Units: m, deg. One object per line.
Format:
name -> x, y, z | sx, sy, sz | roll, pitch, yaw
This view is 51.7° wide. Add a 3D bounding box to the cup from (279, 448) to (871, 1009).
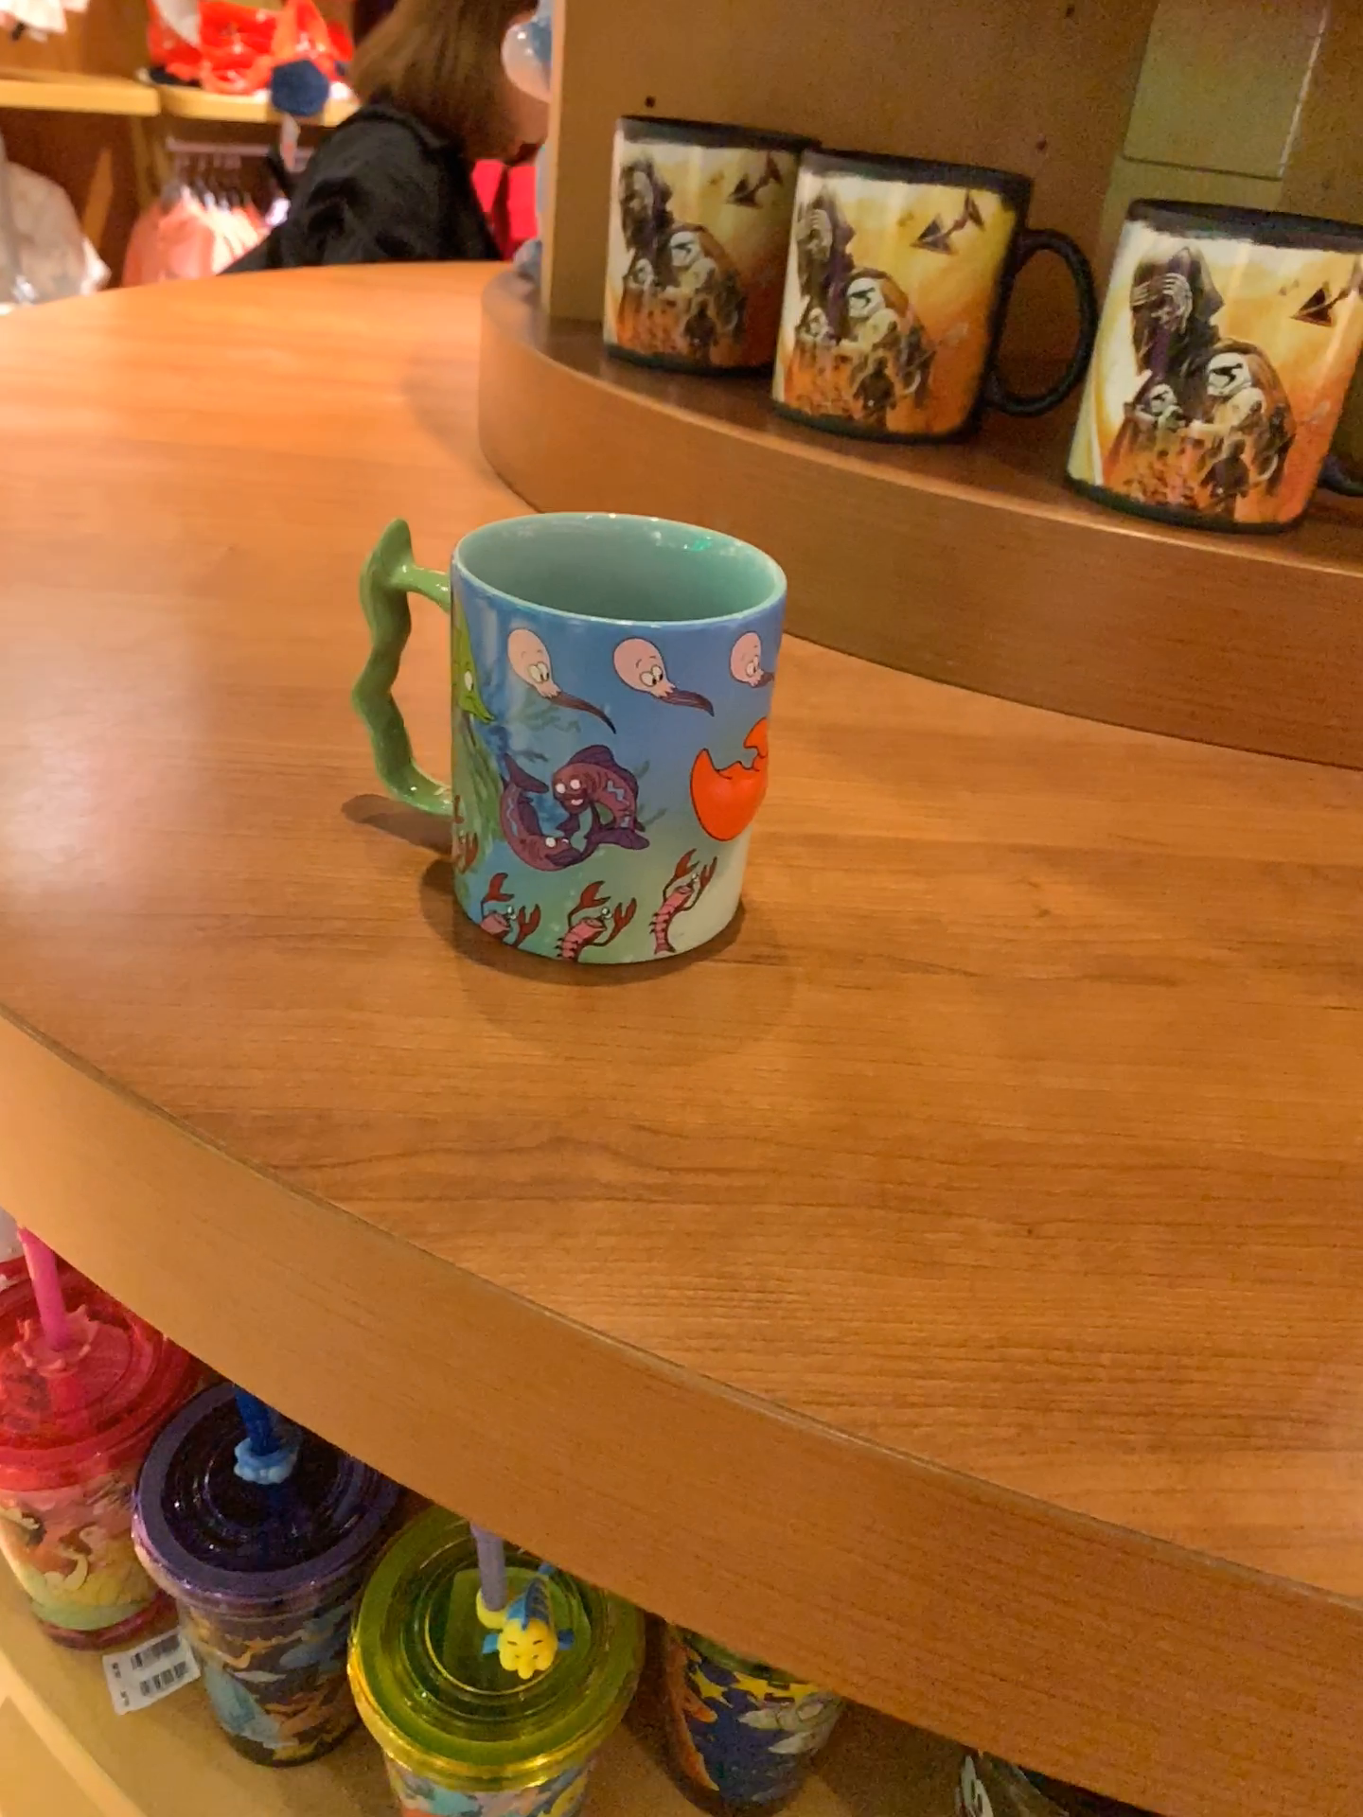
cup -> -0.034, -0.060, 0.407 | 0.135, 0.101, 0.091 | 27, 37, 30
